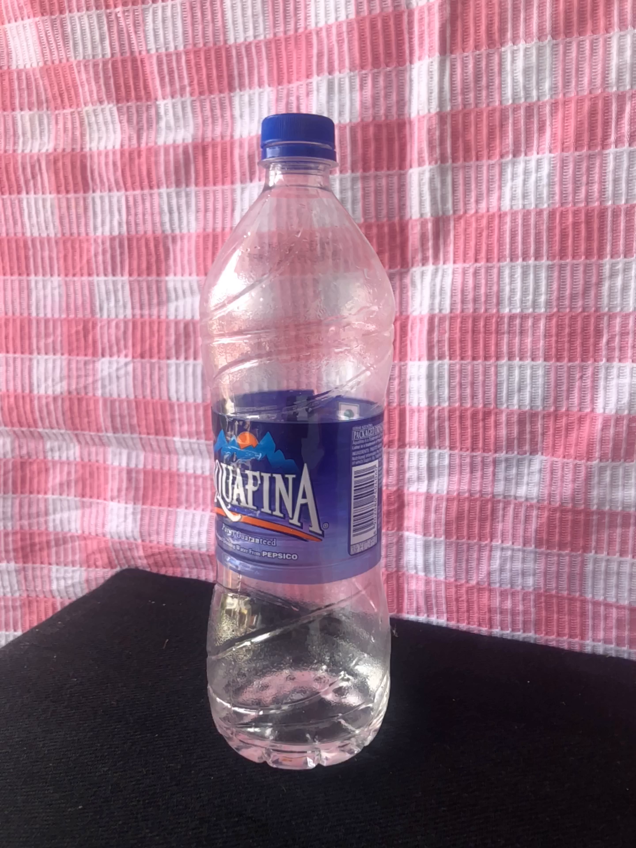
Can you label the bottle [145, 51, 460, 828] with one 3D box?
[{"bbox_3d":[-0.009,0.008,0.283,0.090,0.259,0.070,14,19,43],"label":"bottle"}]
